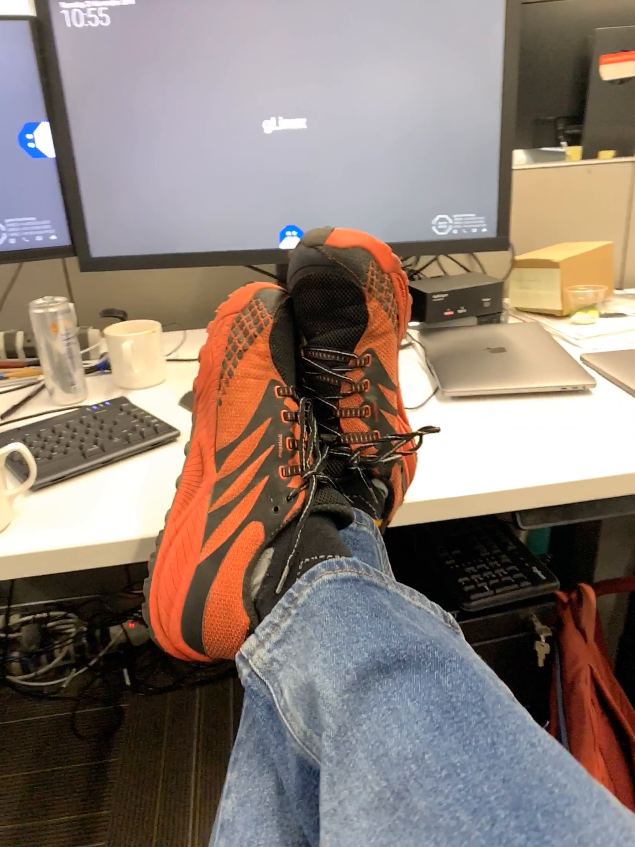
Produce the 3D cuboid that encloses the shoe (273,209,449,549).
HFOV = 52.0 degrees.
[{"bbox_3d":[0.047,-0.035,0.566,0.107,0.271,0.083,4,27,23],"label":"shoe"}]

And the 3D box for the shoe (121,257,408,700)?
[{"bbox_3d":[-0.032,0.030,0.488,0.132,0.289,0.091,7,-10,26],"label":"shoe"}]
